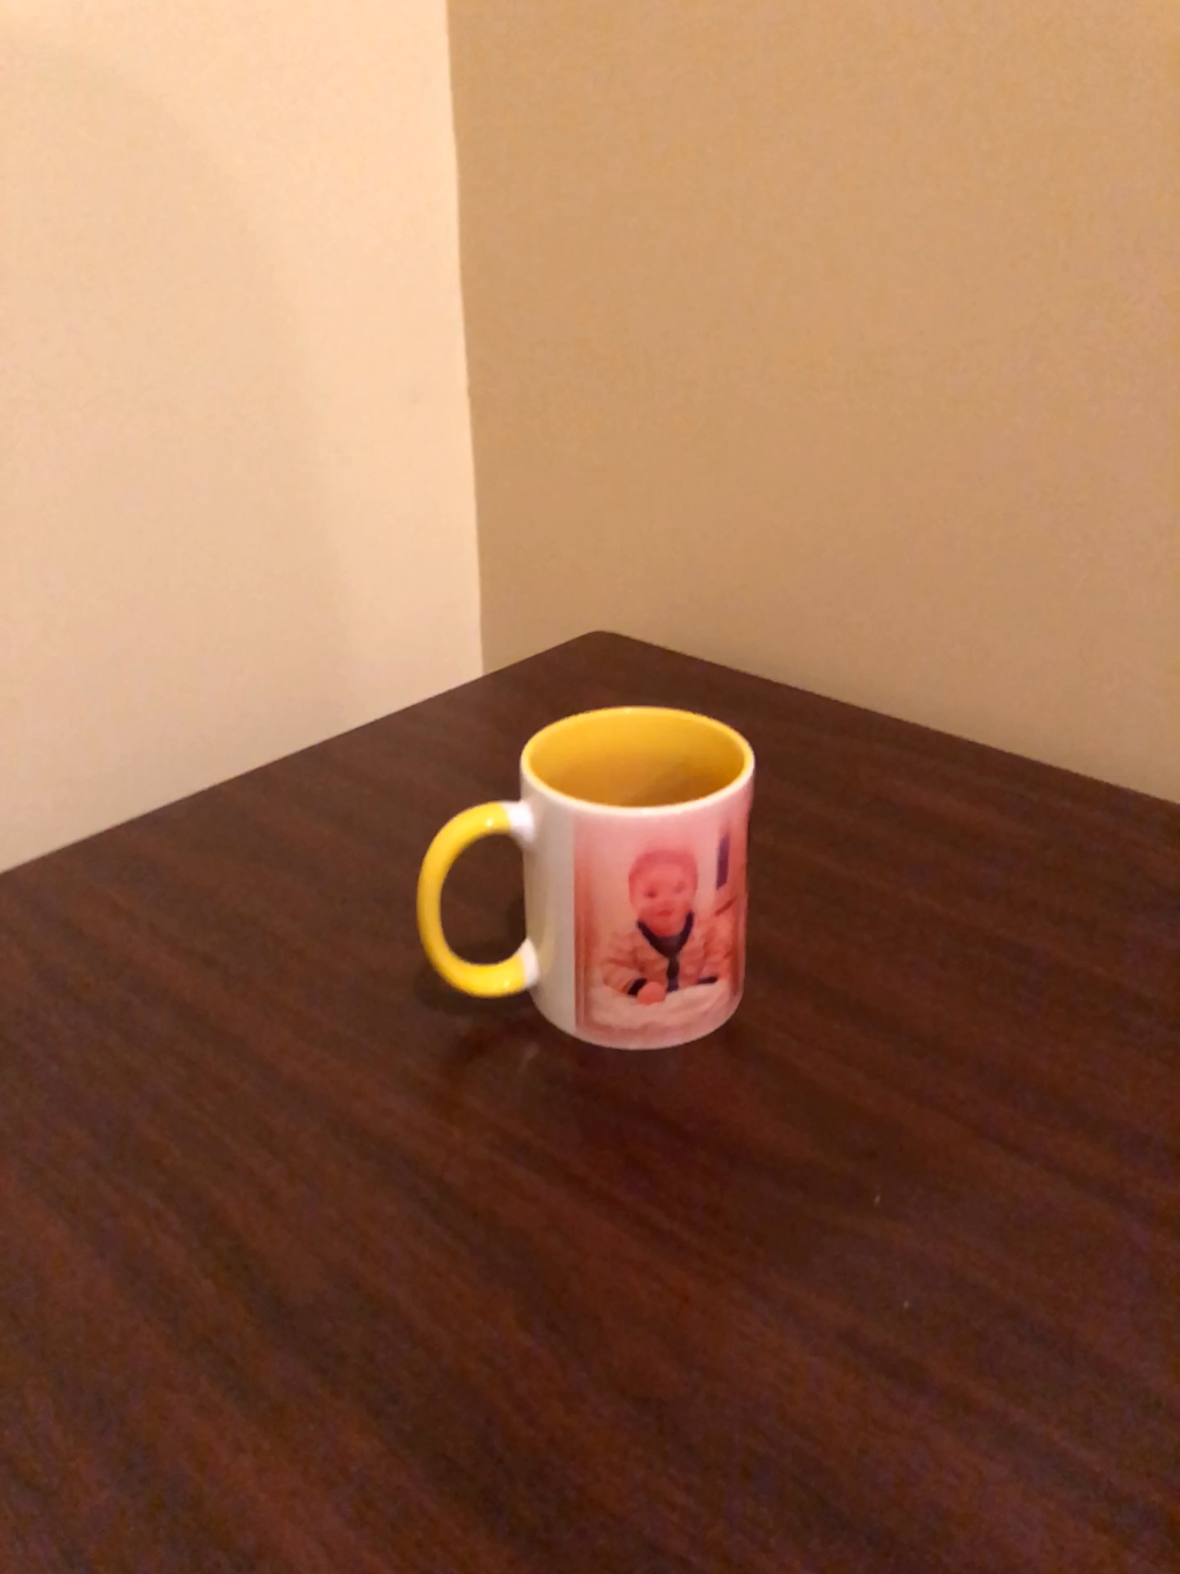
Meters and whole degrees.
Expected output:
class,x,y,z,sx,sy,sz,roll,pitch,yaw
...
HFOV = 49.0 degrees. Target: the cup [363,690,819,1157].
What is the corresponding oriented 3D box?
class,x,y,z,sx,sy,sz,roll,pitch,yaw
cup,-0.001,0.040,0.444,0.120,0.100,0.090,-14,30,-25
